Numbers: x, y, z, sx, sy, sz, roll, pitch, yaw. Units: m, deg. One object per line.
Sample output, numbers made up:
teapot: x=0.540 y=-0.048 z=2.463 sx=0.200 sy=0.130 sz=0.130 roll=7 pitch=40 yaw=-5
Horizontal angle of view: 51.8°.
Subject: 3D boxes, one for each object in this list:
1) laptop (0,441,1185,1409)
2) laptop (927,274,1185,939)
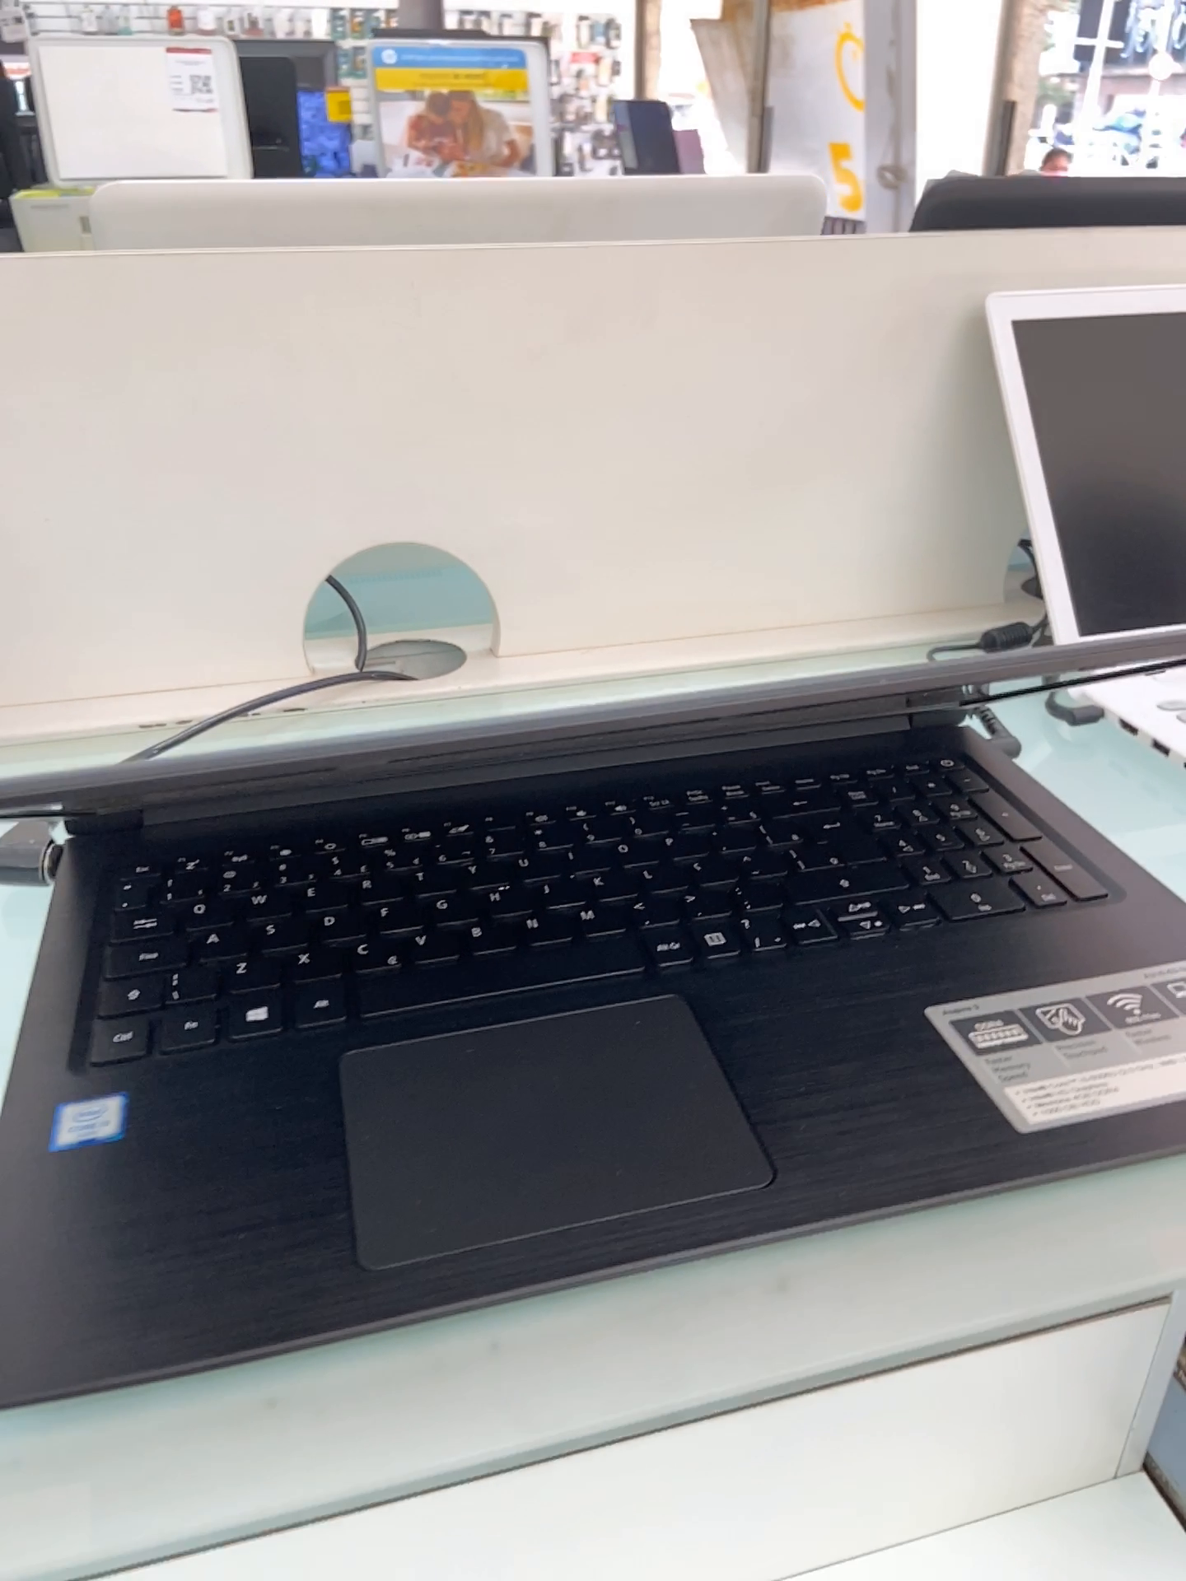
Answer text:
laptop: x=0.013 y=-0.004 z=0.373 sx=0.379 sy=0.123 sz=0.240 roll=-8 pitch=29 yaw=-12
laptop: x=0.422 y=-0.128 z=0.561 sx=0.381 sy=0.165 sz=0.352 roll=-7 pitch=29 yaw=-16
